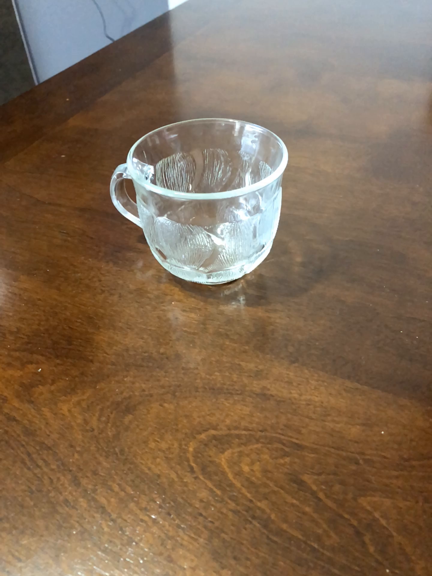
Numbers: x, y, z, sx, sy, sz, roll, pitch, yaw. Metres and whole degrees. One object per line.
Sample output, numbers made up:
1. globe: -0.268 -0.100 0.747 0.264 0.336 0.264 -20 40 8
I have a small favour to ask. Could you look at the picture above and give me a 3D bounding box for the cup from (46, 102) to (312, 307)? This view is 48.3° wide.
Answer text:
1. cup: -0.014 -0.048 0.245 0.100 0.050 0.080 16 46 19
